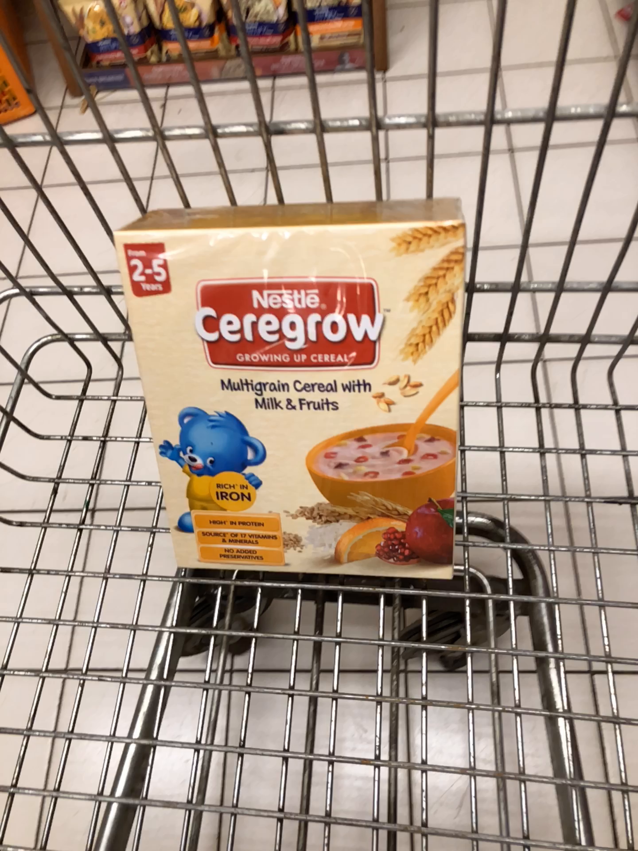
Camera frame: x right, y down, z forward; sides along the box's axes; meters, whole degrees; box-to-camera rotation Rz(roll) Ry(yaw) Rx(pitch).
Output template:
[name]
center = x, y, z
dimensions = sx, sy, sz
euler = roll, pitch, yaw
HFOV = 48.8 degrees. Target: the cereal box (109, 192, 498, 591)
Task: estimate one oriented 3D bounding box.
[cereal box]
center = -0.001, -0.011, 0.351
dimensions = 0.160, 0.189, 0.050
euler = 1, 28, 8
